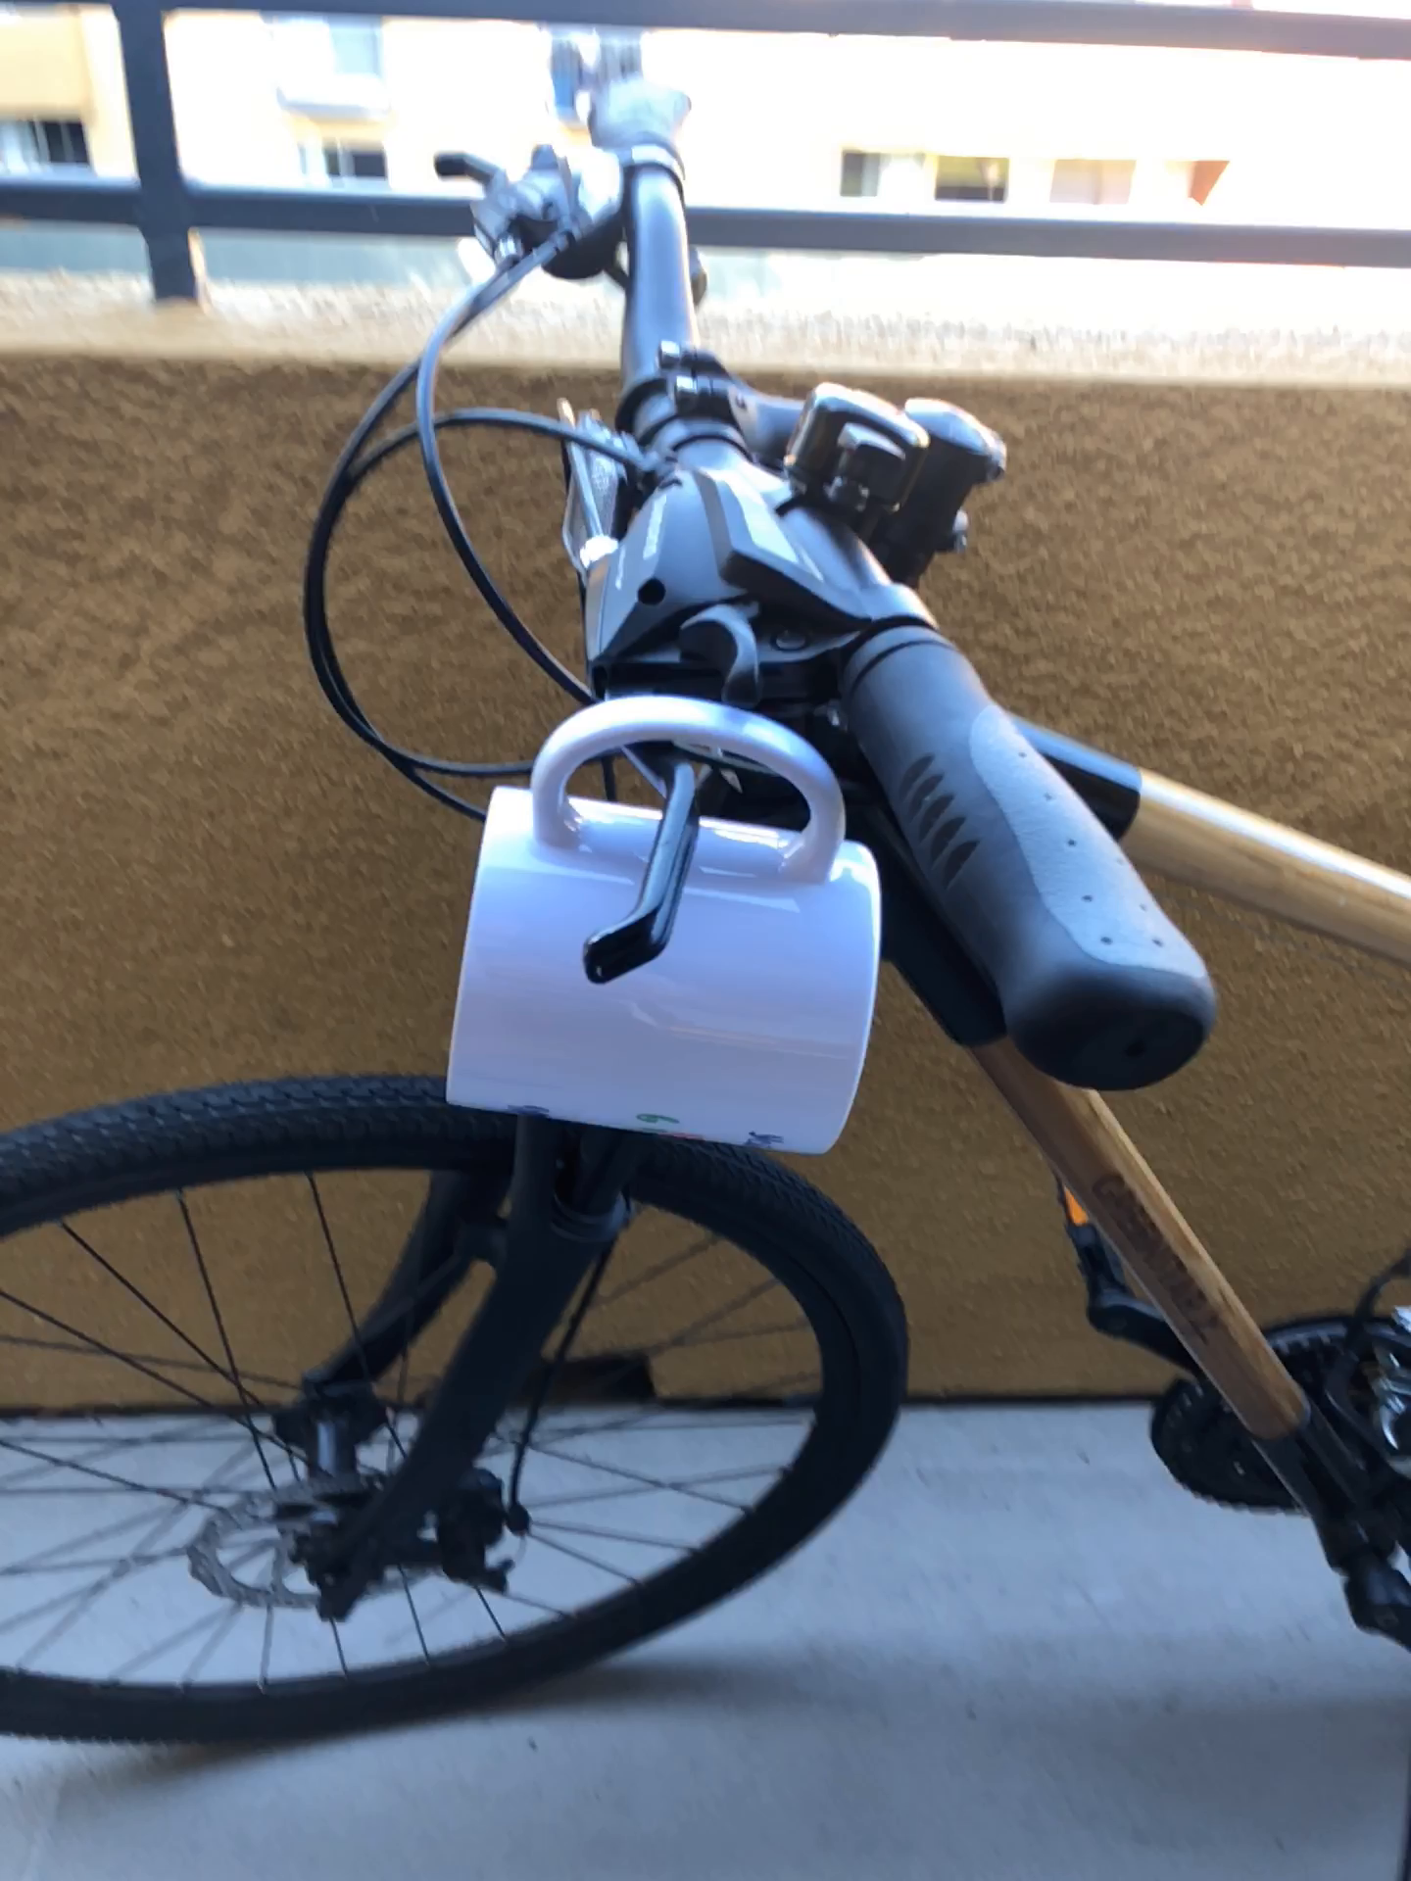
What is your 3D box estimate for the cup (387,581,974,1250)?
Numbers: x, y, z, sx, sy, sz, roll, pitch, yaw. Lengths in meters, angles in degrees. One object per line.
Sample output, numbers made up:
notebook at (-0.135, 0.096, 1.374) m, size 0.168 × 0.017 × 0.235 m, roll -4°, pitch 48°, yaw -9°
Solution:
cup at (-0.006, -0.005, 0.389) m, size 0.120 × 0.119 × 0.090 m, roll 9°, pitch 42°, yaw 2°
